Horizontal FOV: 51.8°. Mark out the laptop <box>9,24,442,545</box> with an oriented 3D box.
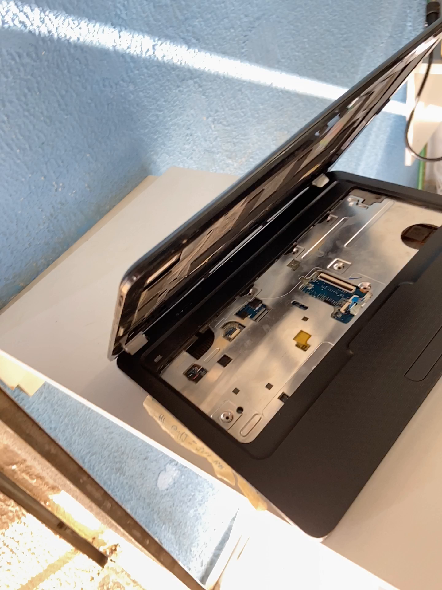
[{"bbox_3d":[0.071,-0.057,0.340,0.223,0.153,0.327,27,59,38],"label":"laptop"}]
